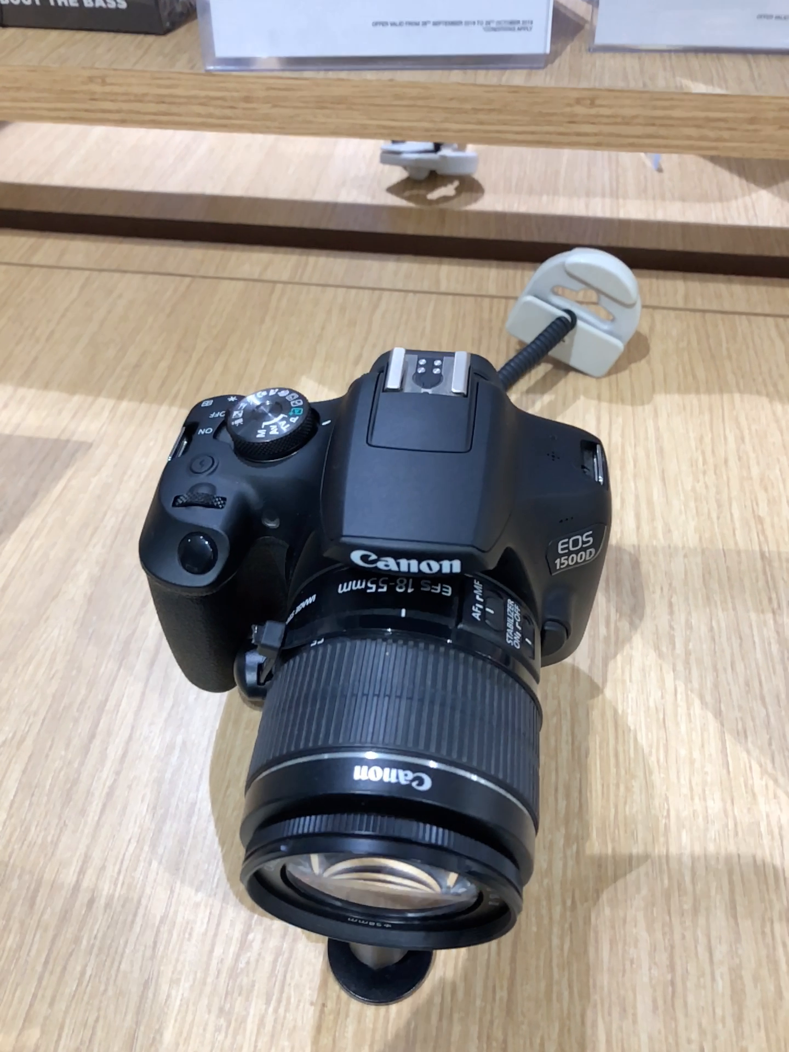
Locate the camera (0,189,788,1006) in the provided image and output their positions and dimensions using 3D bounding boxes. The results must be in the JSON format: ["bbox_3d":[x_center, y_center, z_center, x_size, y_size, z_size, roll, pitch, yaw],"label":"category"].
[{"bbox_3d":[-0.001,0.003,0.235,0.140,0.099,0.191,2,47,4],"label":"camera"}]
